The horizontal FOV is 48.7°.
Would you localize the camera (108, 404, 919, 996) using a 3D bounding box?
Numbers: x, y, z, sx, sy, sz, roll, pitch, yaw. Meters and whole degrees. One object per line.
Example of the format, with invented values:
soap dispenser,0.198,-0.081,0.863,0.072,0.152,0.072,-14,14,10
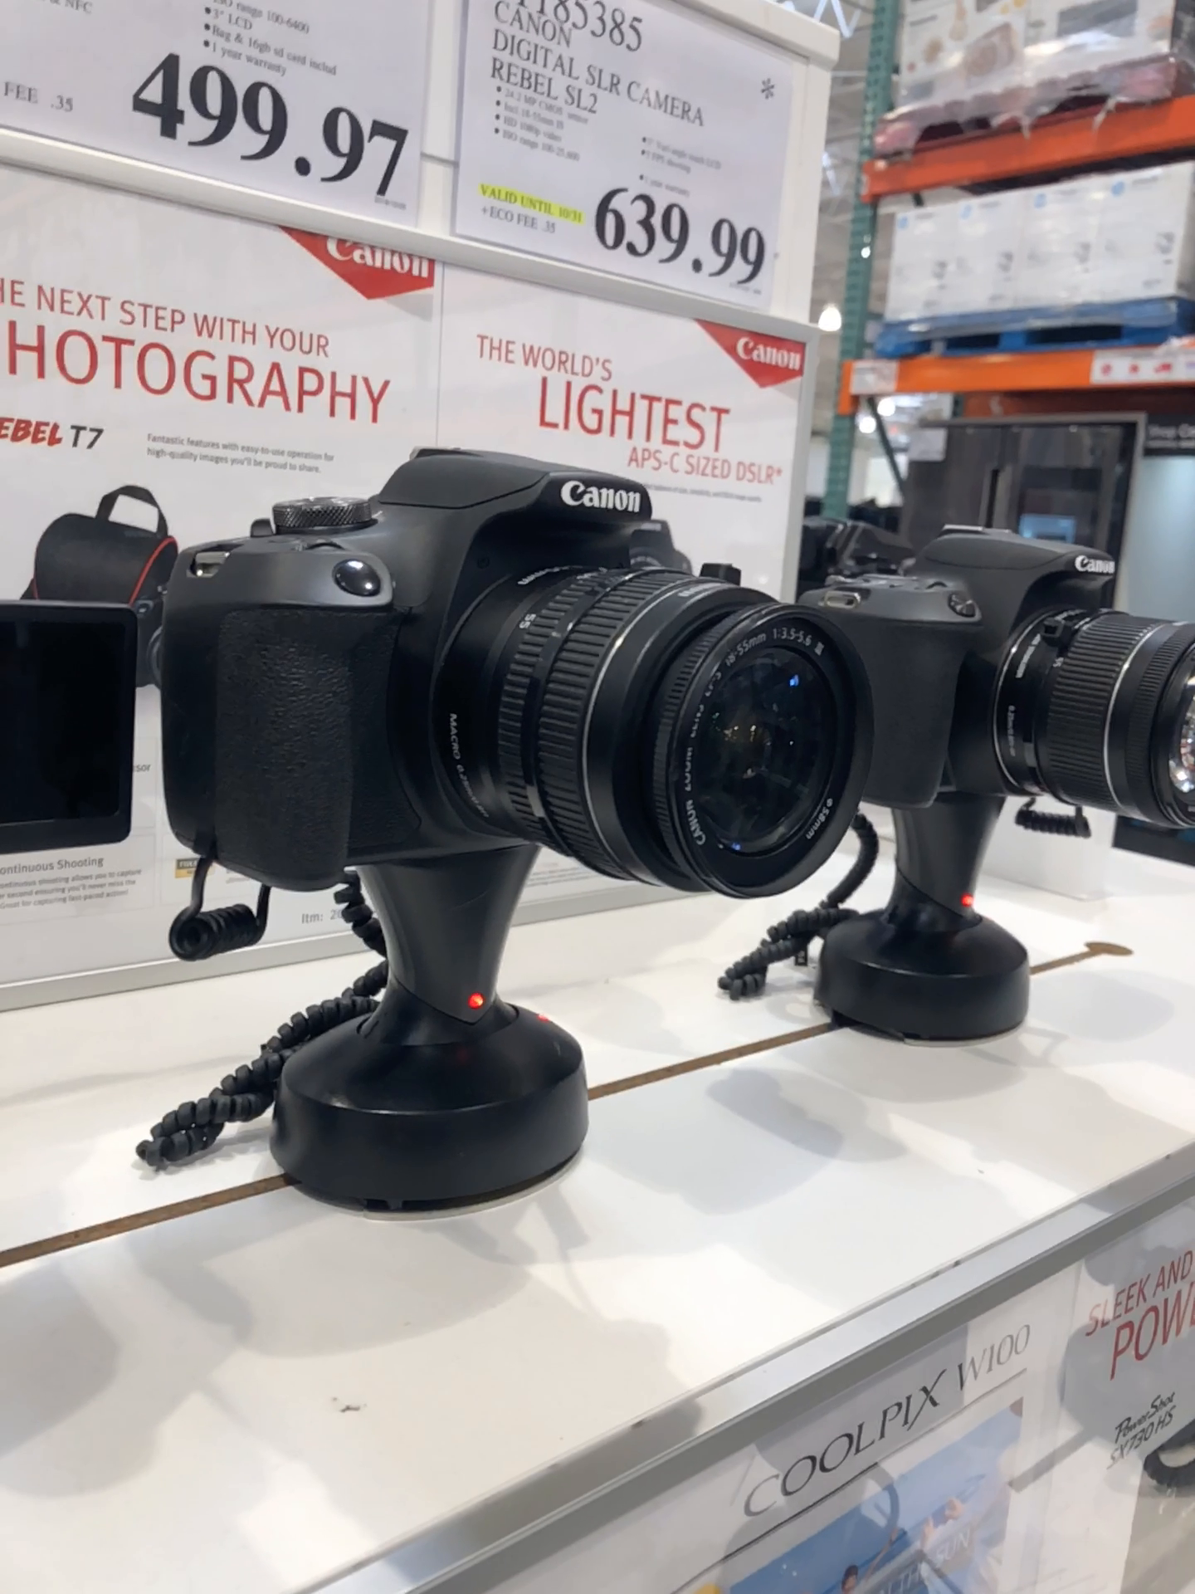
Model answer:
camera,-0.027,-0.032,0.315,0.130,0.100,0.140,-4,14,-39
